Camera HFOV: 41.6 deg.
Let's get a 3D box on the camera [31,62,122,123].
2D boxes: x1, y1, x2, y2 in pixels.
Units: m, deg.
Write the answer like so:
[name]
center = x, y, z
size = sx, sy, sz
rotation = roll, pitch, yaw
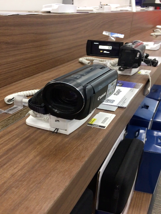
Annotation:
[camera]
center = 0.001, -0.025, 0.282
size = 0.067, 0.043, 0.105
rotation = 14, 30, 25
